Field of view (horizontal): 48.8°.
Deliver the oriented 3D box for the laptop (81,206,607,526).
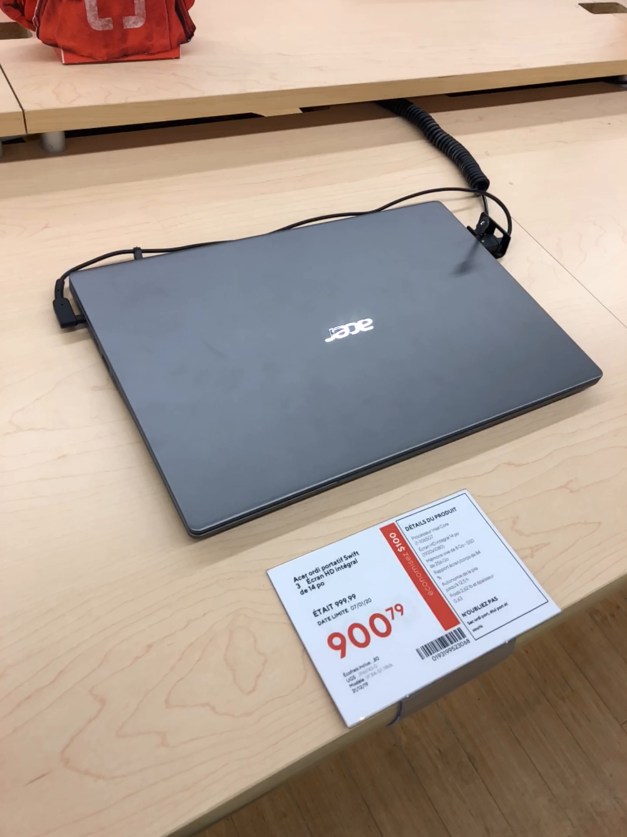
[{"bbox_3d":[0.028,-0.062,0.470,0.307,0.001,0.201,-18,58,-25],"label":"laptop"}]
